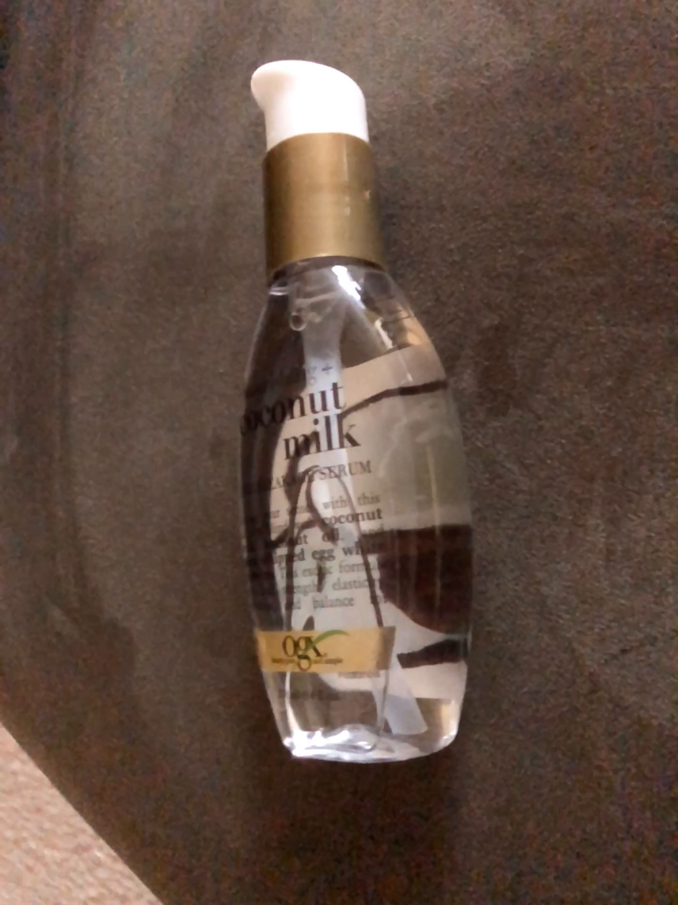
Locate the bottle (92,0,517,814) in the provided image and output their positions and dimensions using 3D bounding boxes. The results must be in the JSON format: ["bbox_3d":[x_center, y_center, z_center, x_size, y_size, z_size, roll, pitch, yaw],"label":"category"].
[{"bbox_3d":[-0.011,-0.020,0.168,0.070,0.040,0.170,-9,82,33],"label":"bottle"}]
